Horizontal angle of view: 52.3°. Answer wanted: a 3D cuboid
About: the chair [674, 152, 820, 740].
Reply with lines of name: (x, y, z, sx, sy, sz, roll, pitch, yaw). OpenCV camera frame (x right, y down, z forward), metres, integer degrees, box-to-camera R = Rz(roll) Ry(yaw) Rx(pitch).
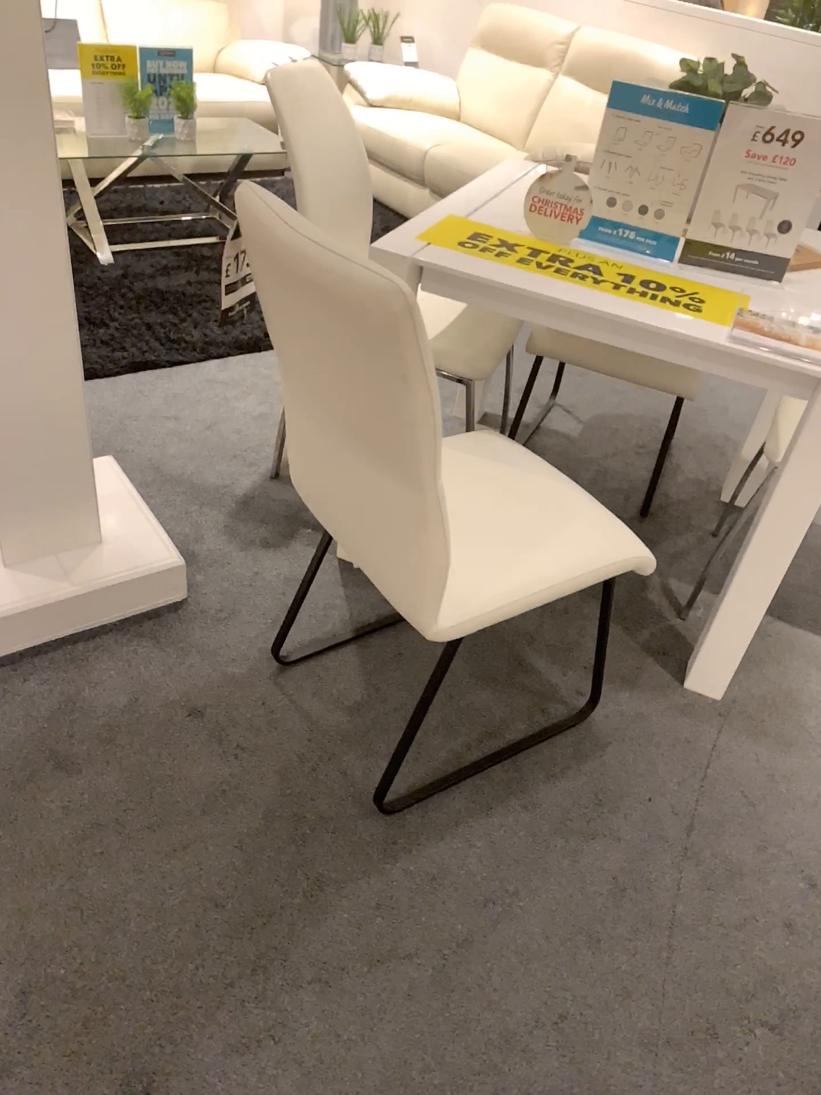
chair: (1.022, -0.213, 1.690, 0.601, 0.881, 0.555, 22, 39, 16)

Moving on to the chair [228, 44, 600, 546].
chair: (-0.018, -0.594, 1.986, 0.640, 0.901, 0.525, 17, 38, 9)

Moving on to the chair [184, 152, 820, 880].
chair: (0.060, -0.078, 1.339, 0.632, 0.881, 0.544, -18, 45, -31)
